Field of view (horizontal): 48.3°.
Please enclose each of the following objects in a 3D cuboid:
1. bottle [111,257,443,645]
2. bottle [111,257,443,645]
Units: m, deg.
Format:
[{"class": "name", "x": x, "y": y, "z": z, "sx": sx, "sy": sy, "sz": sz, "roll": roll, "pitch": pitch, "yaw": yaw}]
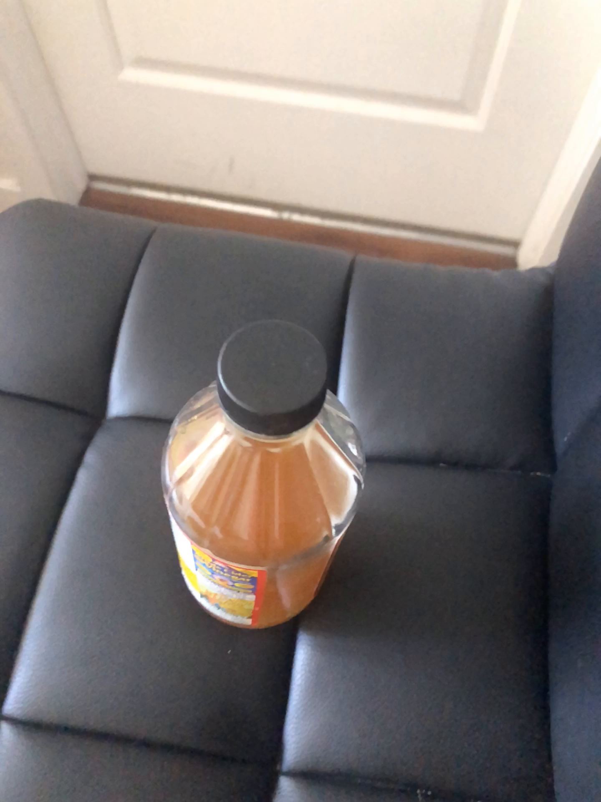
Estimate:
[{"class": "bottle", "x": -0.016, "y": 0.036, "z": 0.258, "sx": 0.070, "sy": 0.179, "sz": 0.070, "roll": 3, "pitch": 63, "yaw": -5}, {"class": "bottle", "x": -0.016, "y": 0.036, "z": 0.258, "sx": 0.070, "sy": 0.179, "sz": 0.070, "roll": 3, "pitch": 63, "yaw": -5}]
